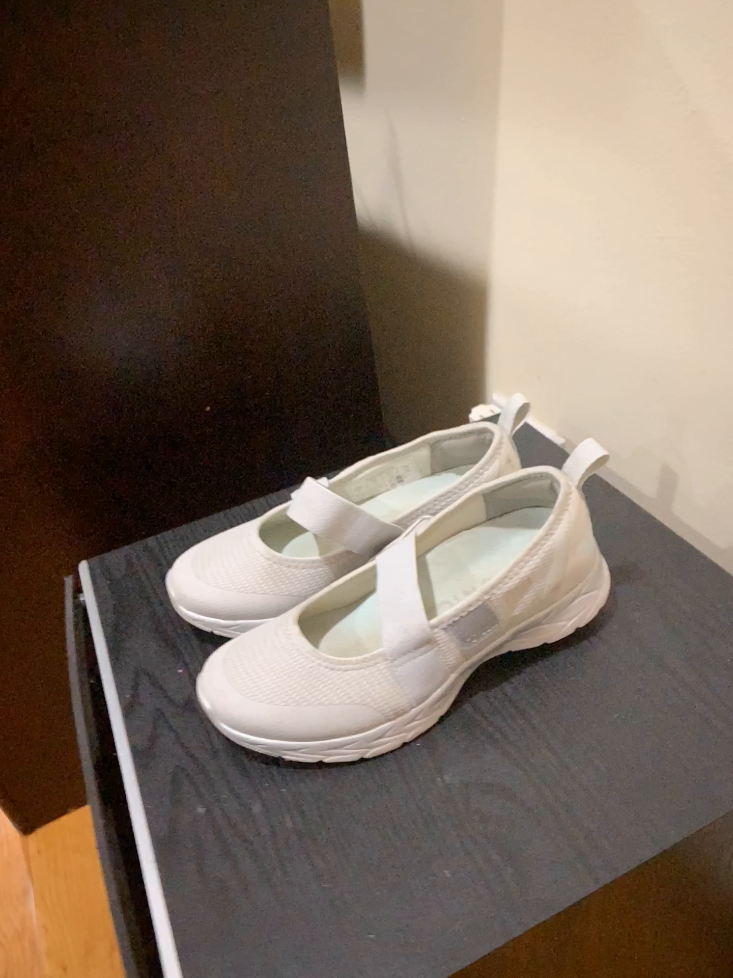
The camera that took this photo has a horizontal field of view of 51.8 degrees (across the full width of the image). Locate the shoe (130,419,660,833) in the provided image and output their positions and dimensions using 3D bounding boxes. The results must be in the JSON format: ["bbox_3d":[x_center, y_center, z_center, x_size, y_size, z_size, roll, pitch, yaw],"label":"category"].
[{"bbox_3d":[0.017,0.062,0.408,0.249,0.093,0.103,-20,37,-14],"label":"shoe"}]

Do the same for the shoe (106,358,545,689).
[{"bbox_3d":[-0.021,0.013,0.484,0.249,0.093,0.103,-20,37,-14],"label":"shoe"}]
